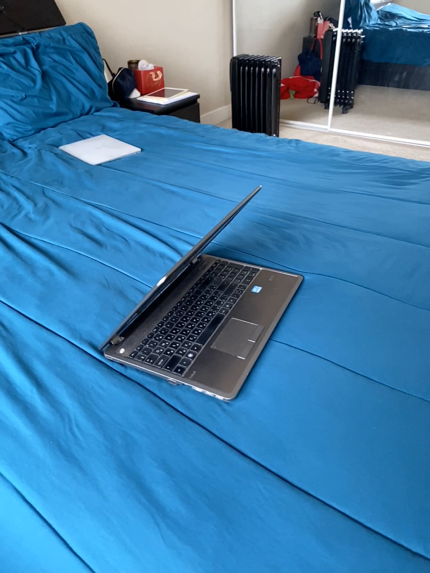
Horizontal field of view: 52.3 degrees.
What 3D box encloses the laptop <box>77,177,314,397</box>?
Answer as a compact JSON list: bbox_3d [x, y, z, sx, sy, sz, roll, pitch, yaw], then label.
[{"bbox_3d":[-0.006,-0.032,0.797,0.255,0.192,0.370,13,38,23],"label":"laptop"}]
